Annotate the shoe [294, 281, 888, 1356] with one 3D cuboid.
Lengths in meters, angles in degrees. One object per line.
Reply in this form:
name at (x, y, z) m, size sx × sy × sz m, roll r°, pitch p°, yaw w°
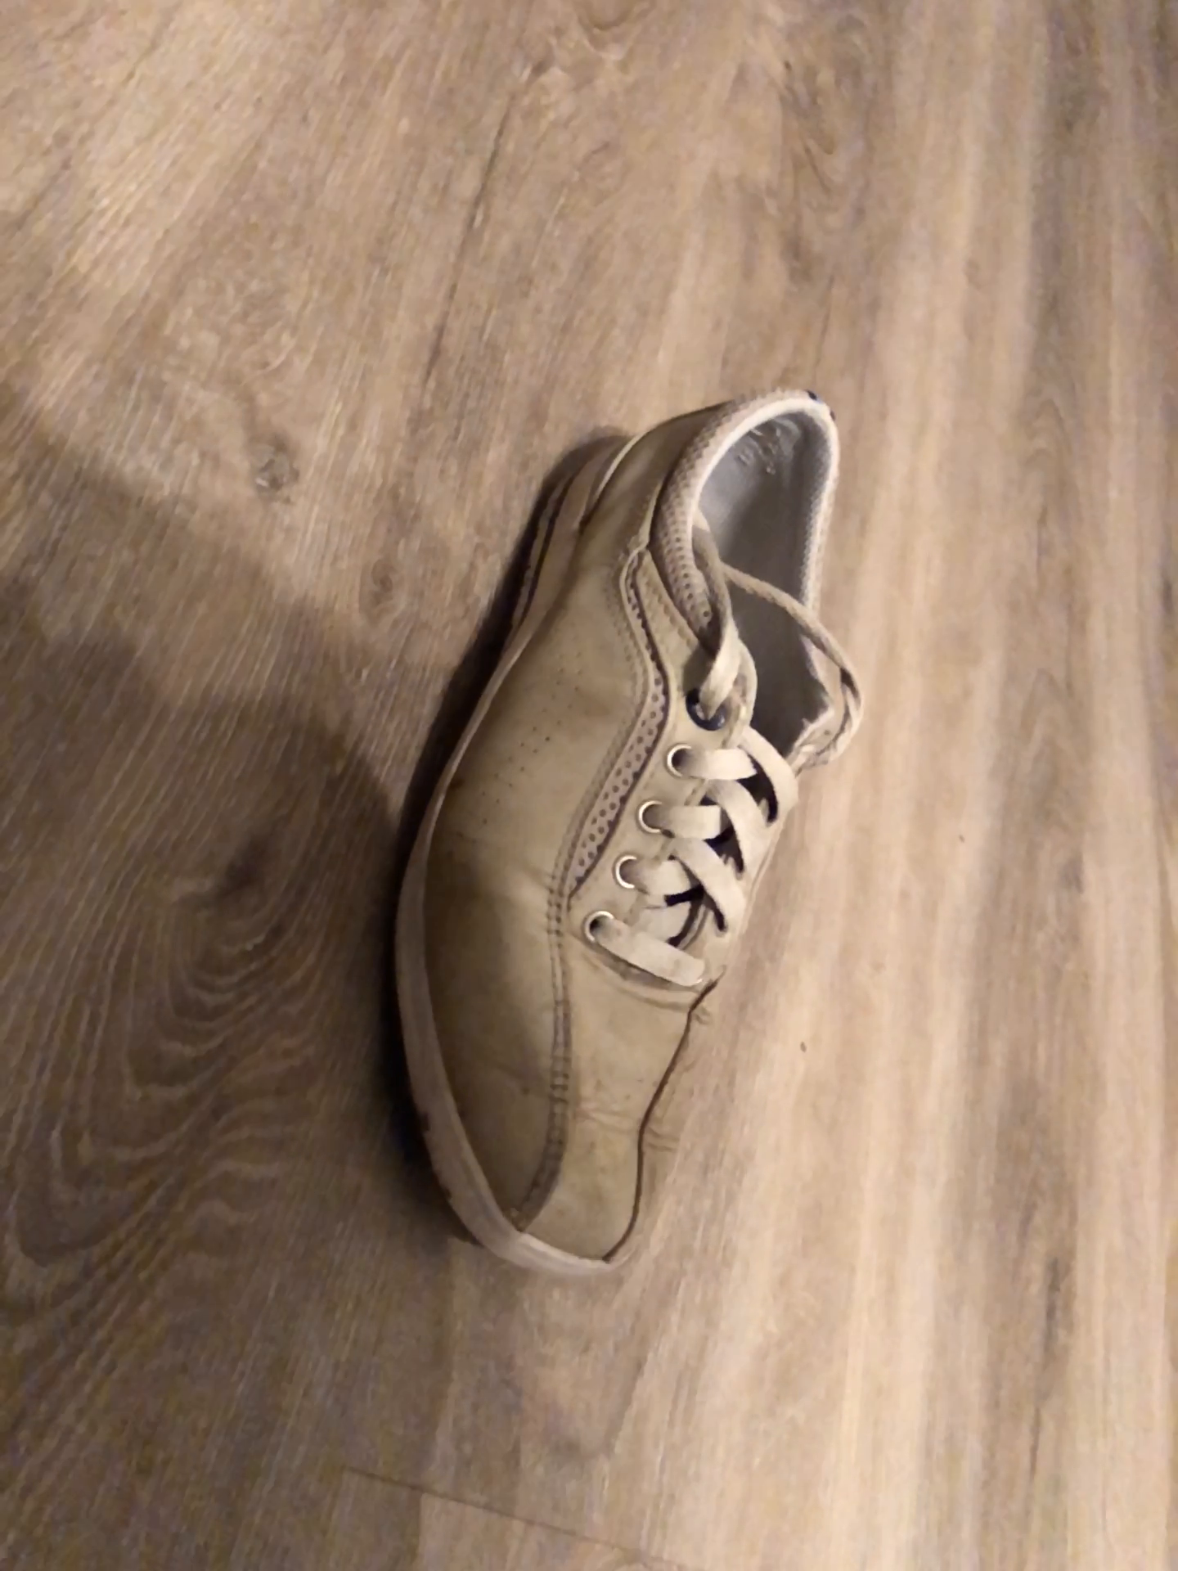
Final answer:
shoe at (0.015, 0.002, 0.336) m, size 0.090 × 0.070 × 0.250 m, roll 34°, pitch 54°, yaw -36°
